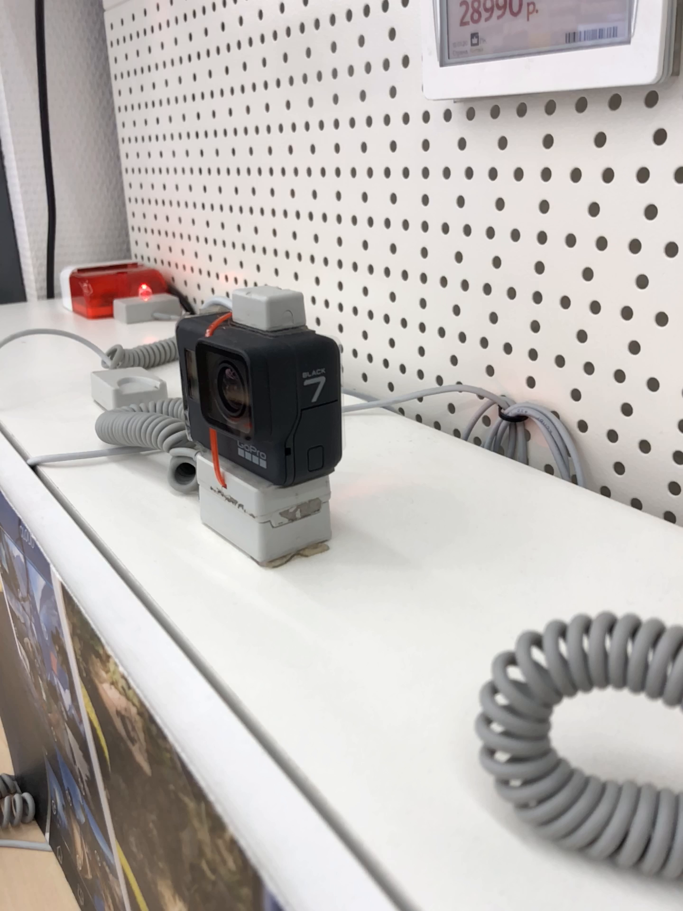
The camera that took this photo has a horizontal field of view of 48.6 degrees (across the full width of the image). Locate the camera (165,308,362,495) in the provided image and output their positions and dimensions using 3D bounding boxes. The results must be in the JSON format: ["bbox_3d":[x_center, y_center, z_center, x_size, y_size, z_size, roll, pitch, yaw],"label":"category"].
[{"bbox_3d":[-0.026,-0.021,0.249,0.032,0.043,0.064,-17,26,-36],"label":"camera"}]
